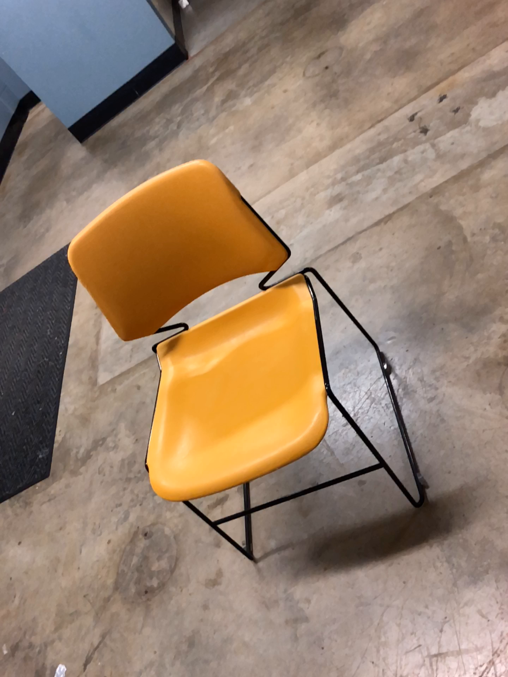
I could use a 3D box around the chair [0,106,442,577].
[{"bbox_3d":[-0.052,0.060,1.291,0.579,0.734,0.618,-26,42,21],"label":"chair"}]
